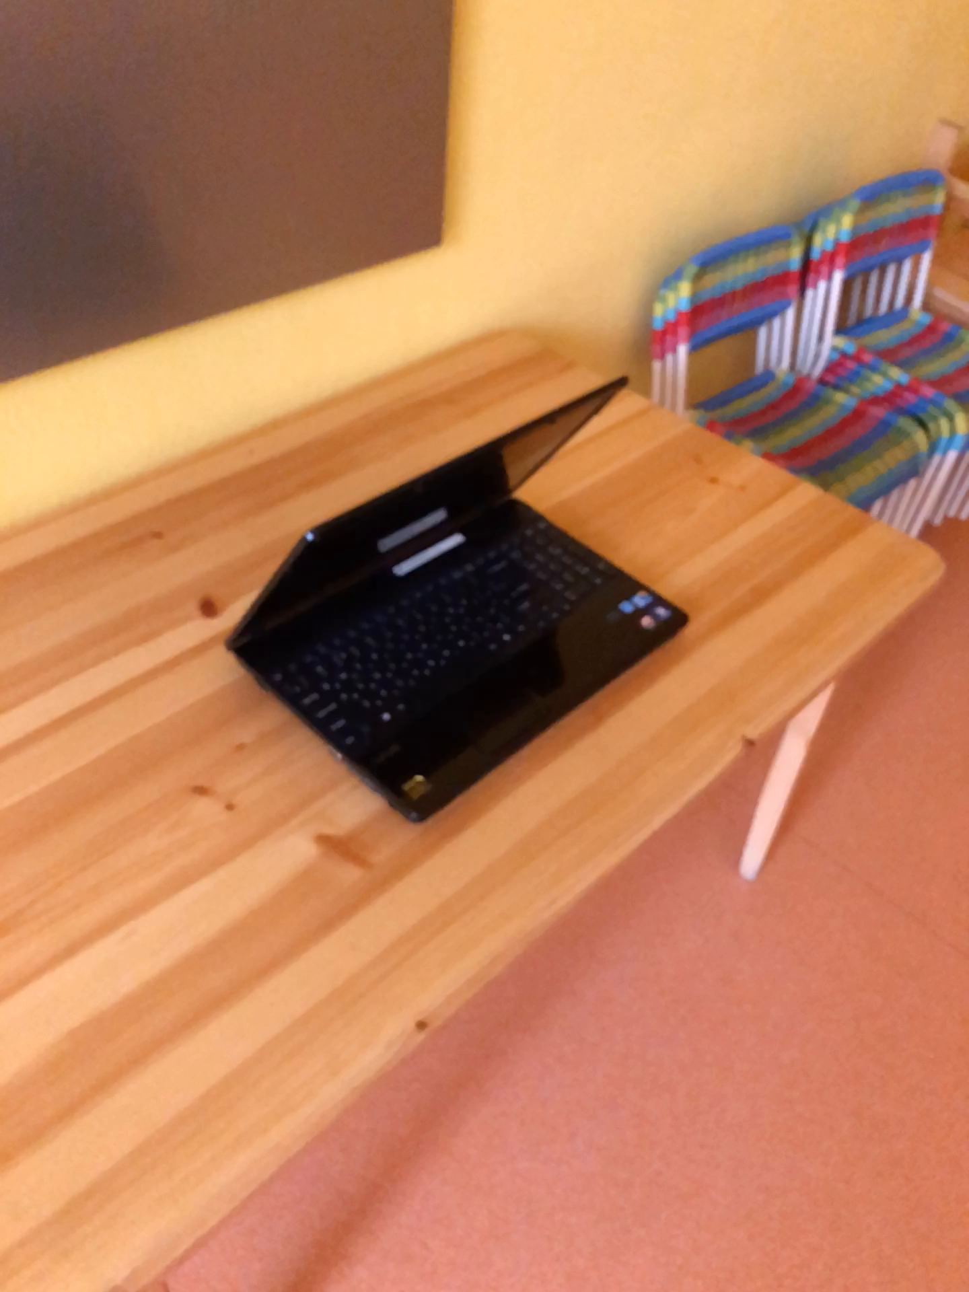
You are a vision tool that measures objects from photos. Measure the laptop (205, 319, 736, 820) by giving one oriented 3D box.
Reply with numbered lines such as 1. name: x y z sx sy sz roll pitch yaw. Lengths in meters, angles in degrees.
1. laptop: -0.007 -0.087 0.934 0.247 0.200 0.363 37 51 27
